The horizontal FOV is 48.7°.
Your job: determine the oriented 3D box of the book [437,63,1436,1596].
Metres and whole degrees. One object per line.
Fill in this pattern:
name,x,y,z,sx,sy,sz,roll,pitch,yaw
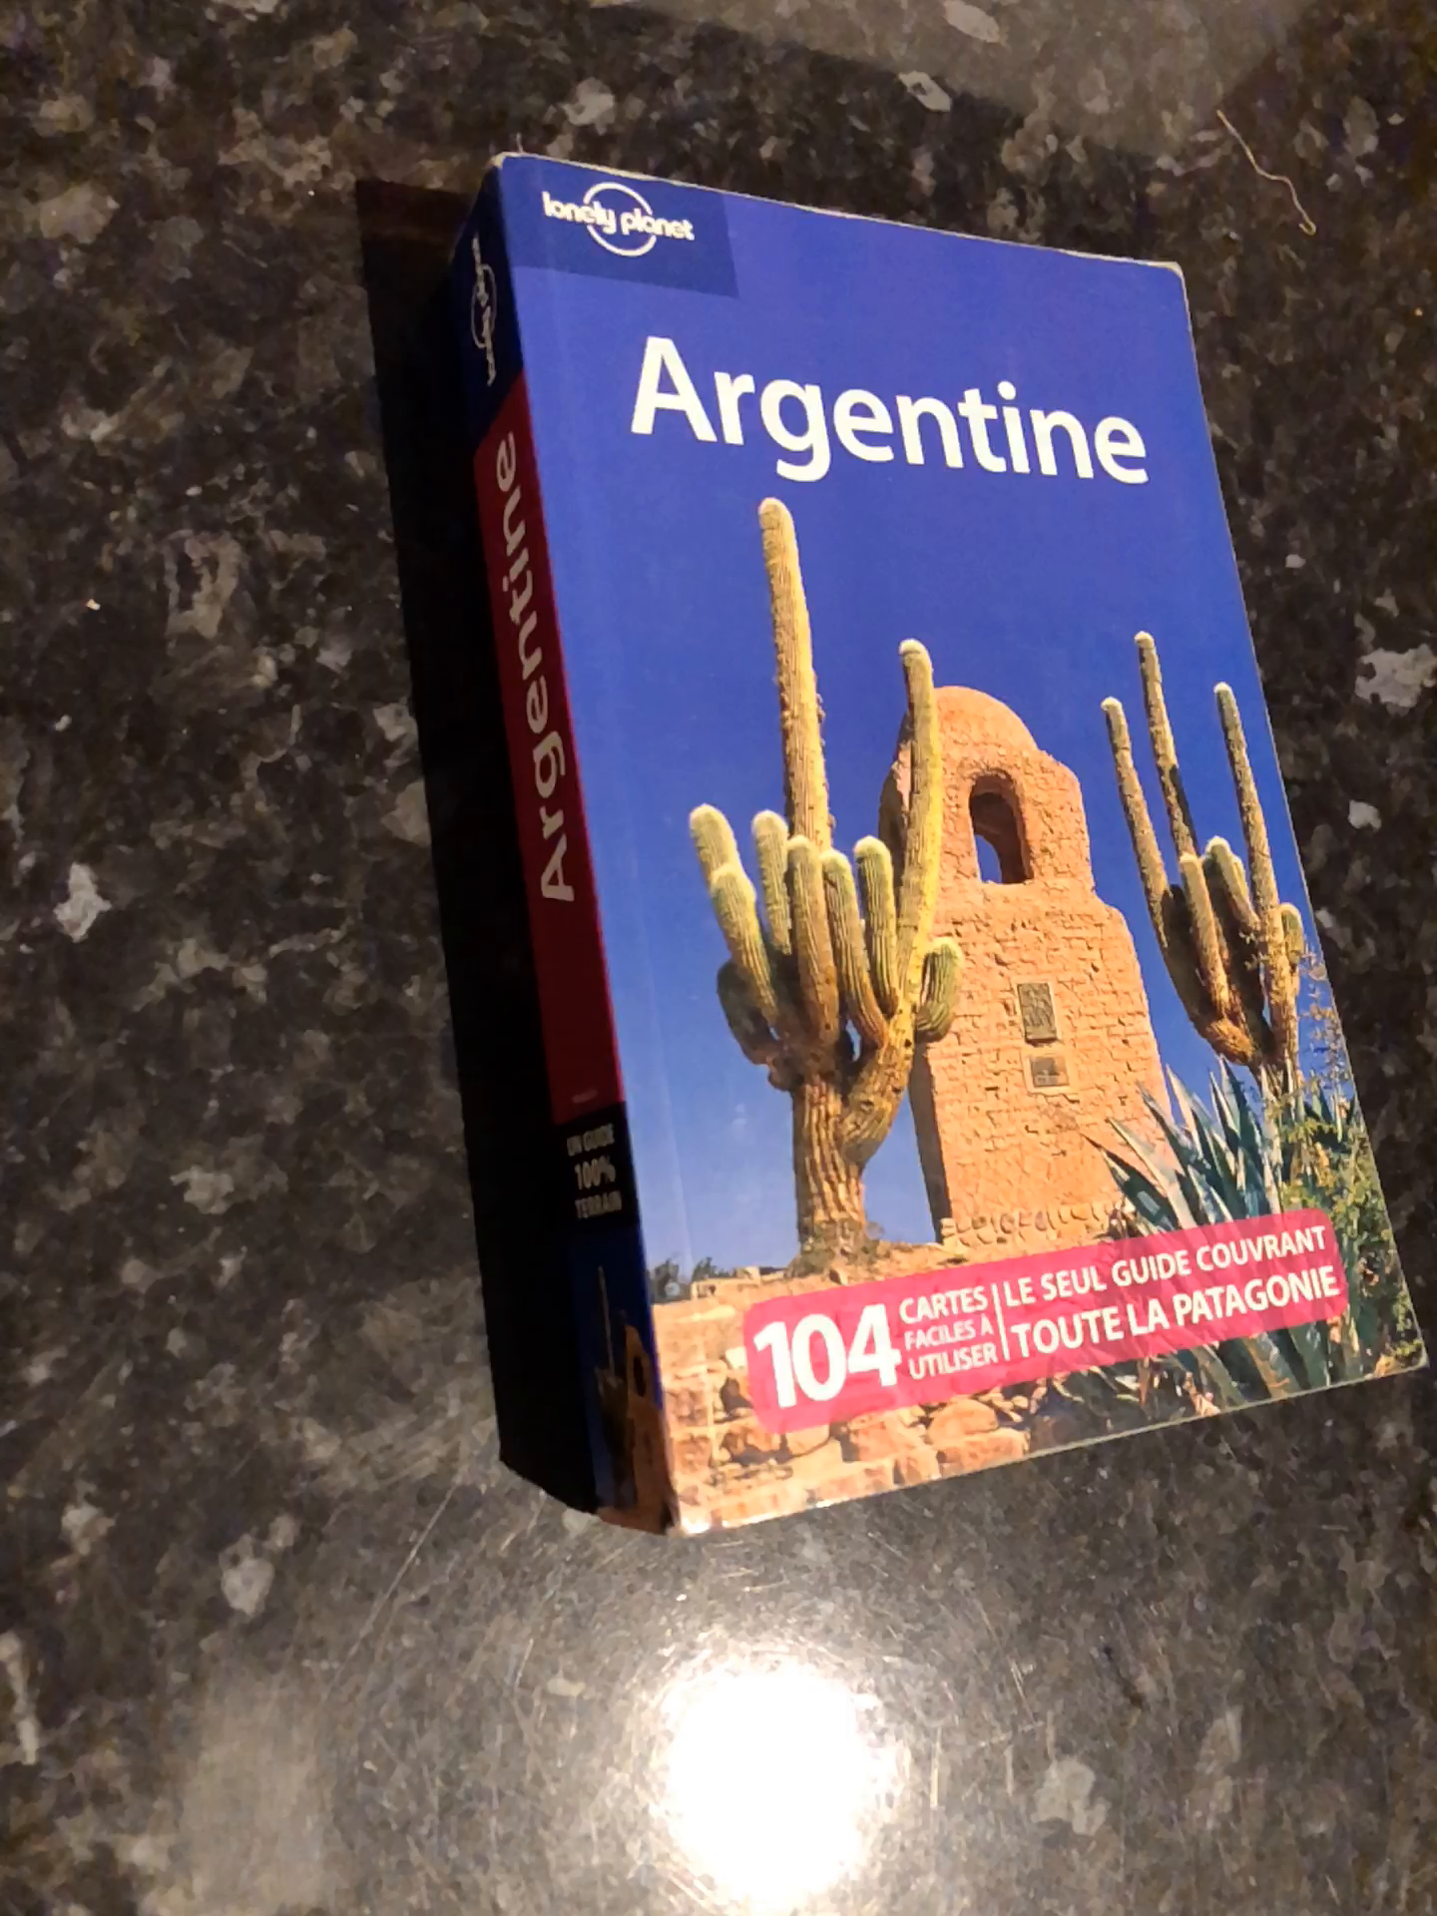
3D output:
book,0.035,-0.026,0.250,0.130,0.030,0.210,-3,78,-27
